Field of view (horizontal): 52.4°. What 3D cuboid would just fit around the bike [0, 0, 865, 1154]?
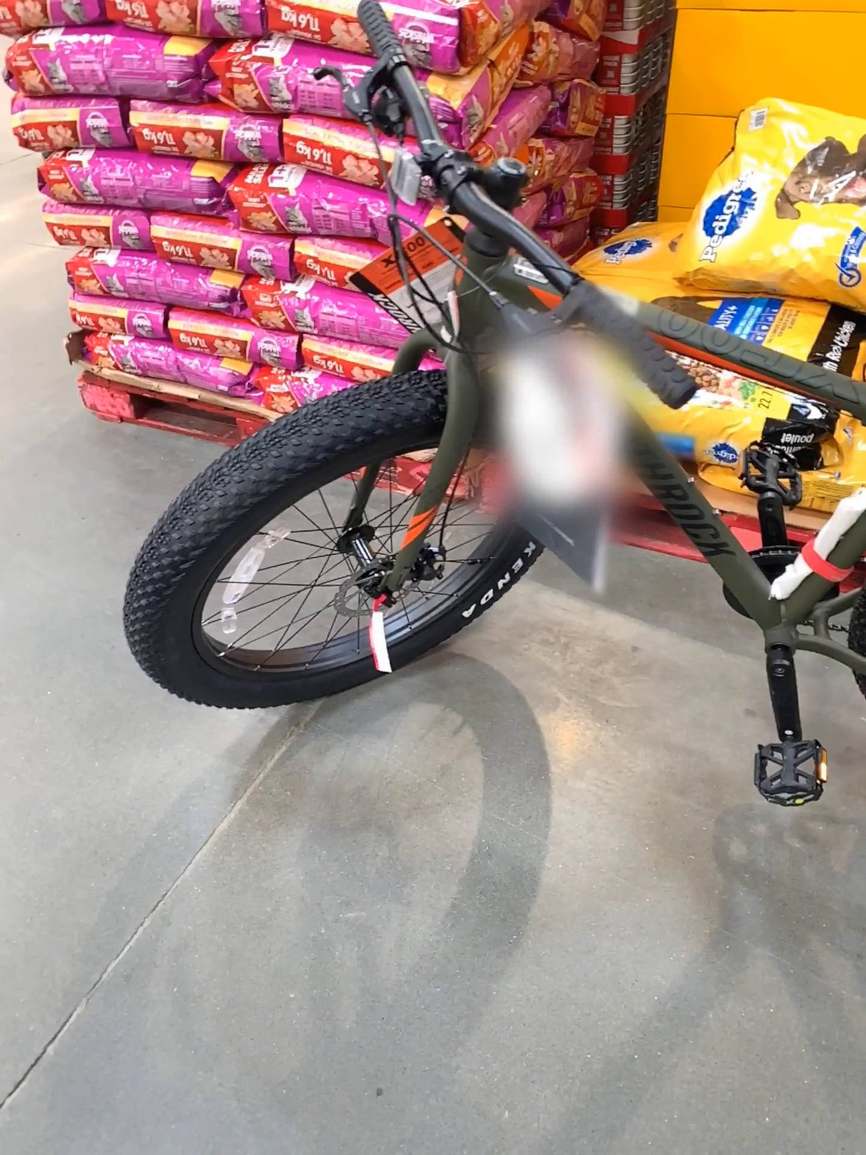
[{"bbox_3d":[0.462,0.027,0.808,1.712,1.203,0.595,1,39,-7],"label":"bike"}]
